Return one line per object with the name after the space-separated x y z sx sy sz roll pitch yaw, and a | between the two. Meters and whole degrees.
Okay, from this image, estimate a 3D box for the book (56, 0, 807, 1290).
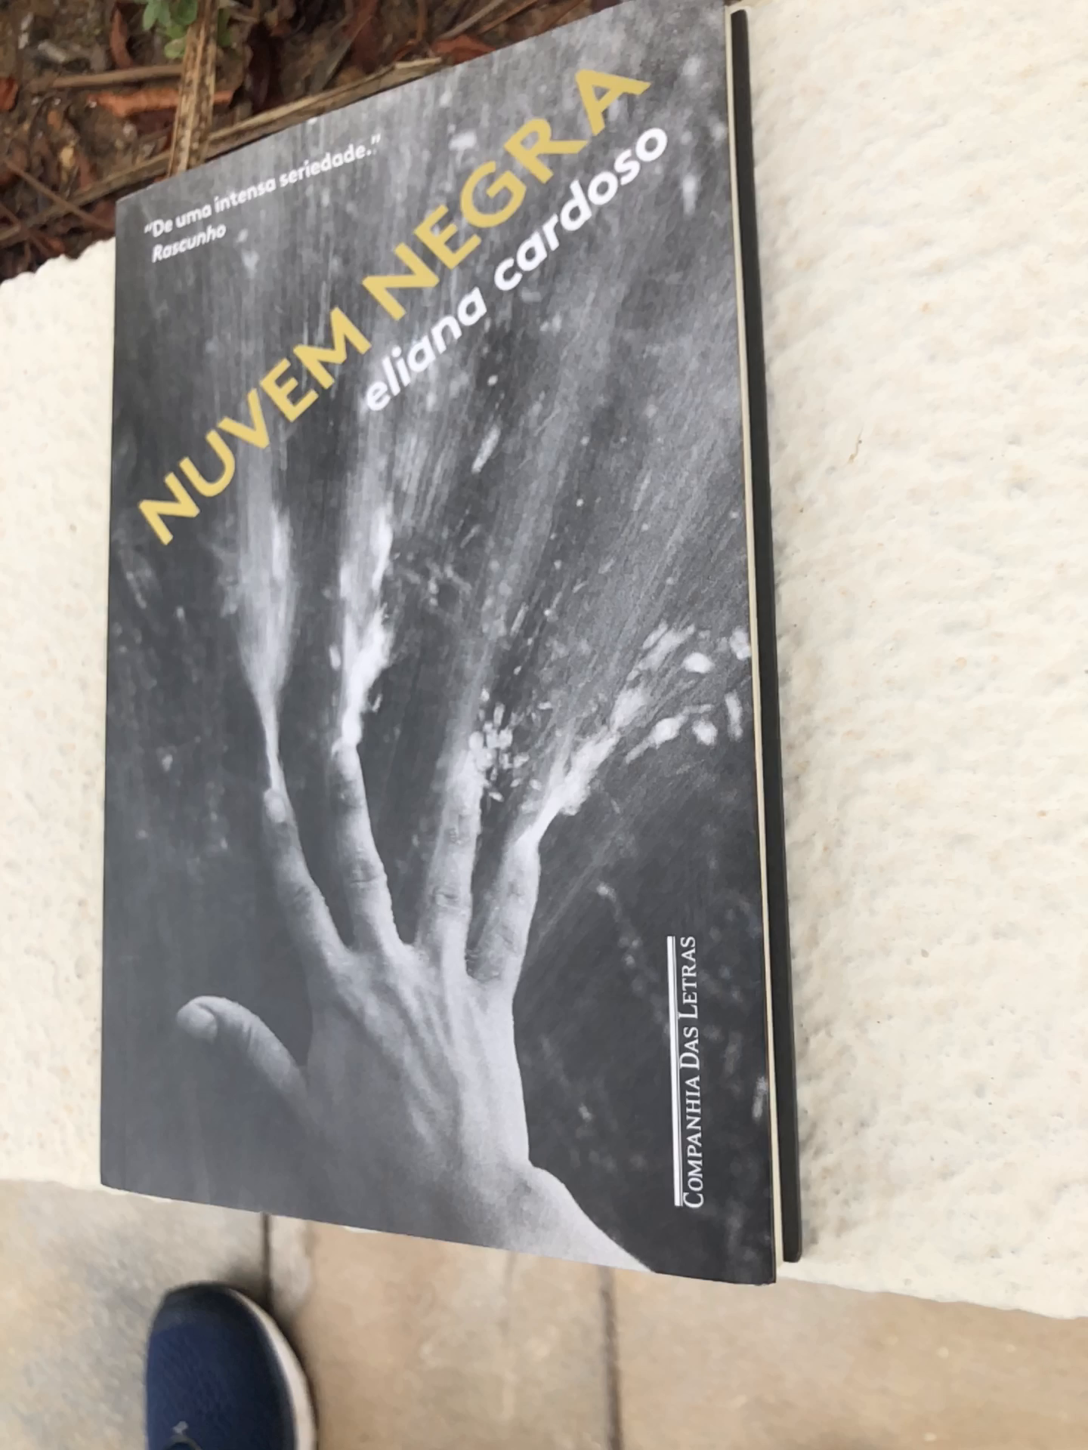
-0.029 -0.016 0.217 0.140 0.013 0.200 -4 84 26 | book
